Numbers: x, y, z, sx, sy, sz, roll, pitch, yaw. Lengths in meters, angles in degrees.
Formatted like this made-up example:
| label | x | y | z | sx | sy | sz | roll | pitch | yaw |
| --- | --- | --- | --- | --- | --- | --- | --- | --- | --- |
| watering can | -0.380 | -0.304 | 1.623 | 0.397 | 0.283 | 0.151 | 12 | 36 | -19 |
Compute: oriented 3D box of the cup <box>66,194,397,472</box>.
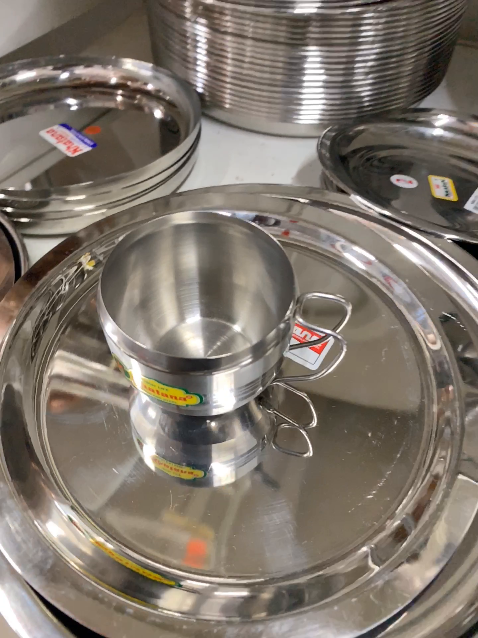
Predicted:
| label | x | y | z | sx | sy | sz | roll | pitch | yaw |
| --- | --- | --- | --- | --- | --- | --- | --- | --- | --- |
| cup | 0.002 | 0.001 | 0.176 | 0.090 | 0.040 | 0.070 | 13 | 53 | 10 |
